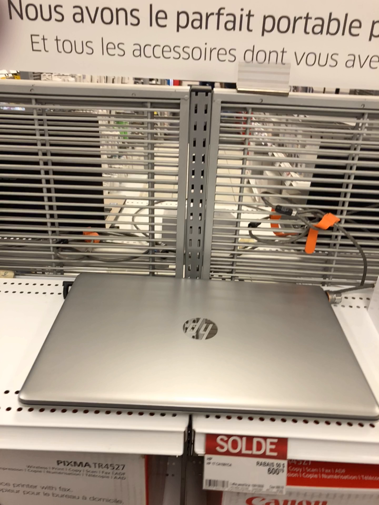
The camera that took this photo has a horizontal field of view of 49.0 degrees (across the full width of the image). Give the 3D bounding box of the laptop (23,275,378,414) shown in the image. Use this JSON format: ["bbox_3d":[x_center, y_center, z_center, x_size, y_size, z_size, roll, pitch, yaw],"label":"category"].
[{"bbox_3d":[0.015,0.114,0.610,0.416,0.002,0.278,2,27,1],"label":"laptop"}]
